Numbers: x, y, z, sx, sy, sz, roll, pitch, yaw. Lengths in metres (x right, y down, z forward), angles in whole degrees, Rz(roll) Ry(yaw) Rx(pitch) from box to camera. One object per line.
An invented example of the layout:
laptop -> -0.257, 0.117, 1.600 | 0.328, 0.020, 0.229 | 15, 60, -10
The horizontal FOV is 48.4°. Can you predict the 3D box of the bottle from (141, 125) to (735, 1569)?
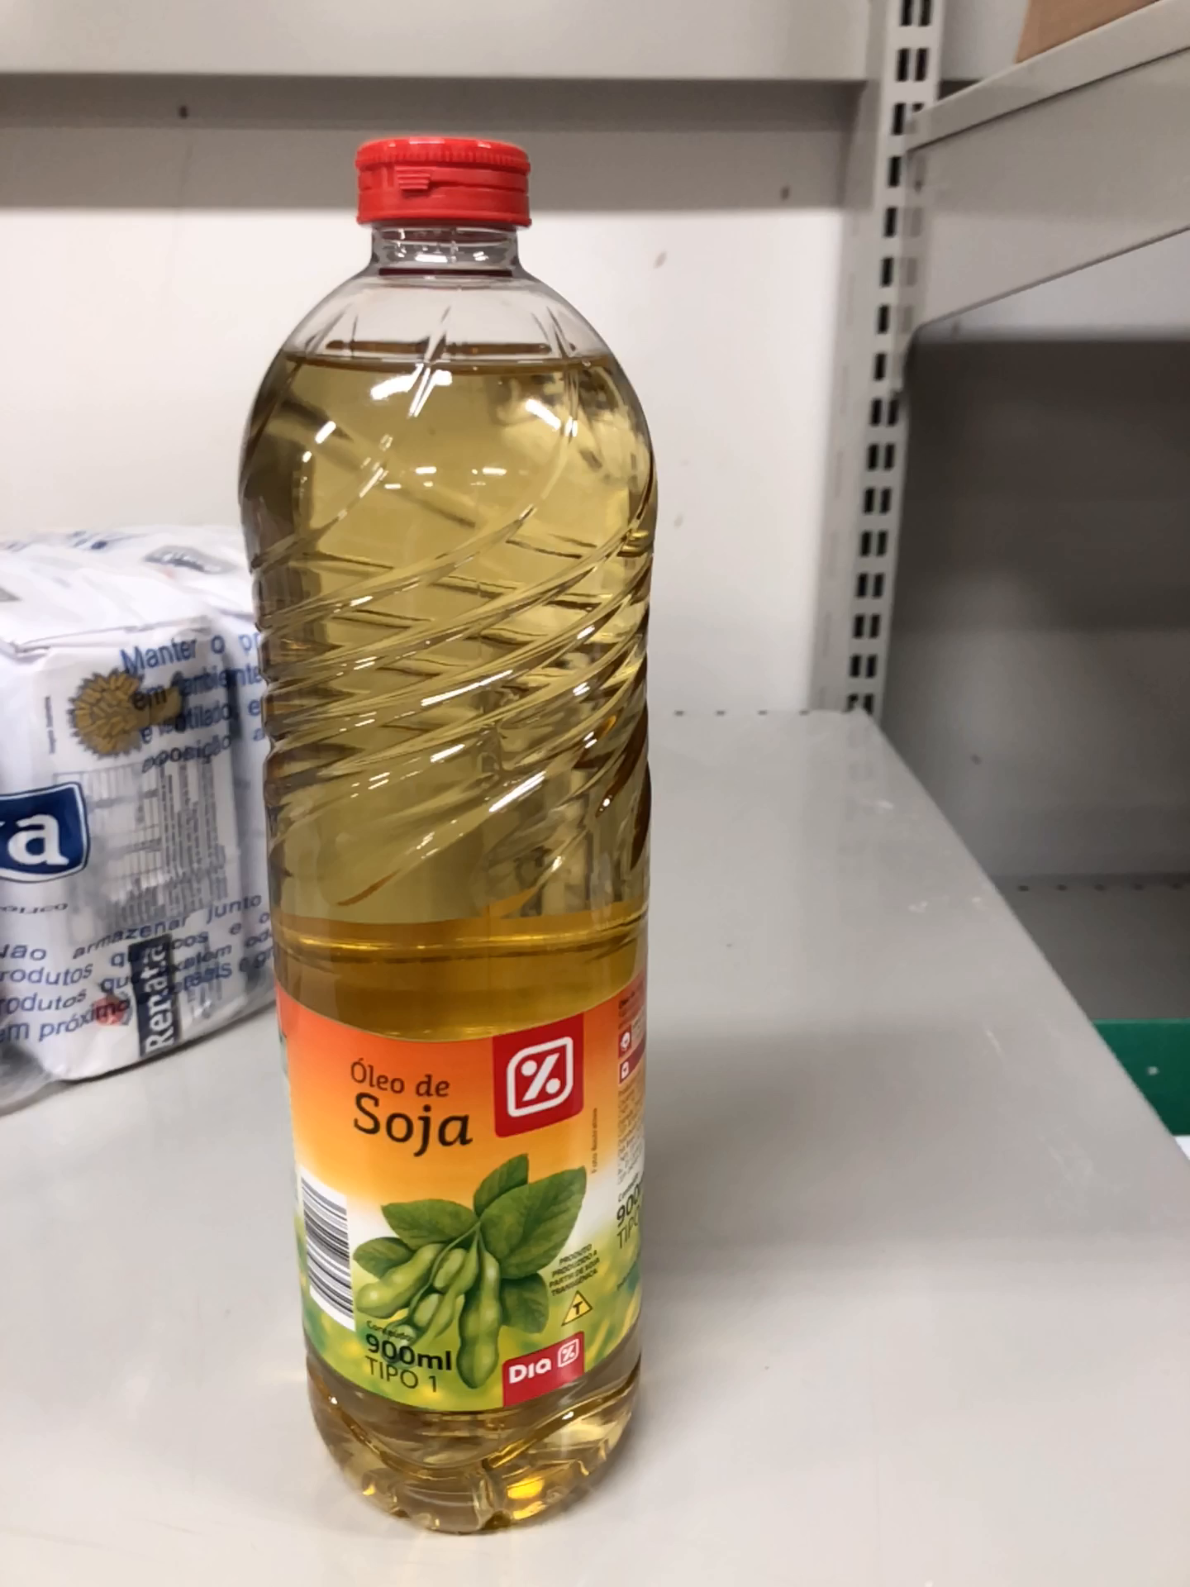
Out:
bottle -> -0.023, 0.019, 0.256 | 0.080, 0.258, 0.070 | 4, 21, 6
